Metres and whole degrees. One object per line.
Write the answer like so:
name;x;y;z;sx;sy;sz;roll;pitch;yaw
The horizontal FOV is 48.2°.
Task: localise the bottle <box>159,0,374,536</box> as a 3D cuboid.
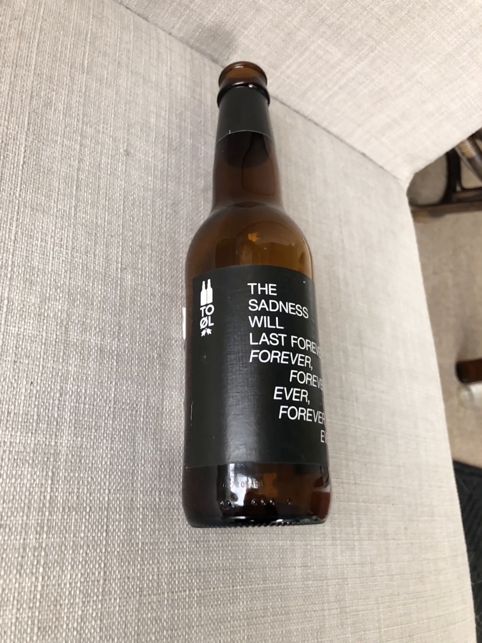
bottle;0.009;-0.031;0.251;0.060;0.060;0.239;16;65;-39
